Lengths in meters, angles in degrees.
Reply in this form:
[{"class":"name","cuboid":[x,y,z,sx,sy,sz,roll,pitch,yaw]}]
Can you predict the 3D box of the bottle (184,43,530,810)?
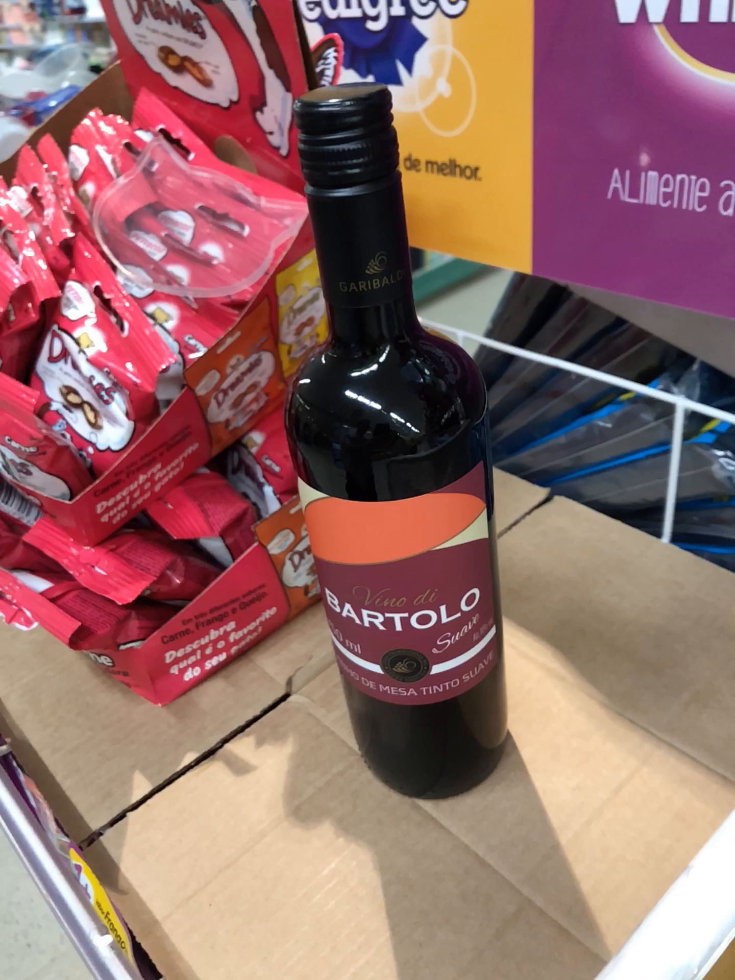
[{"class":"bottle","cuboid":[0.017,0.004,0.316,0.080,0.297,0.061,0,36,14]}]
